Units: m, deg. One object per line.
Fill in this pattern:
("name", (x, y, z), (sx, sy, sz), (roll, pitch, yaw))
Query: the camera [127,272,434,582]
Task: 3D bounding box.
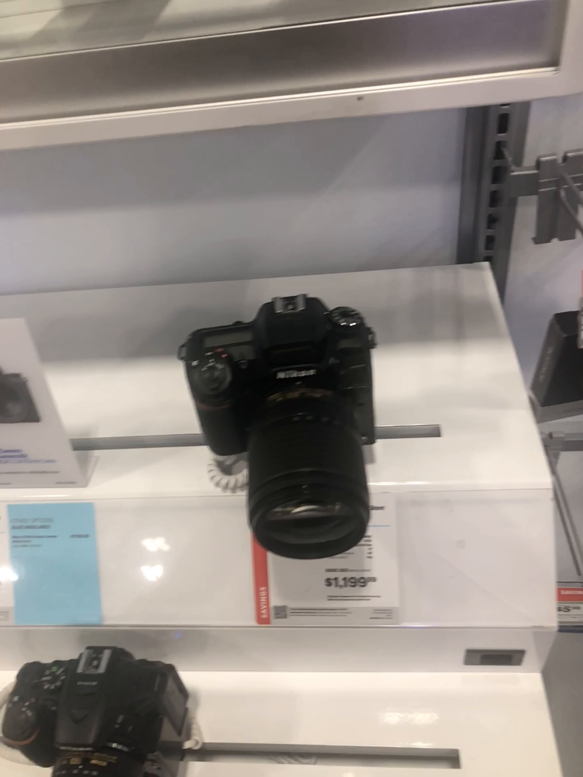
("camera", (-0.003, 0.022, 0.428), (0.160, 0.110, 0.160), (-6, 43, 3))
